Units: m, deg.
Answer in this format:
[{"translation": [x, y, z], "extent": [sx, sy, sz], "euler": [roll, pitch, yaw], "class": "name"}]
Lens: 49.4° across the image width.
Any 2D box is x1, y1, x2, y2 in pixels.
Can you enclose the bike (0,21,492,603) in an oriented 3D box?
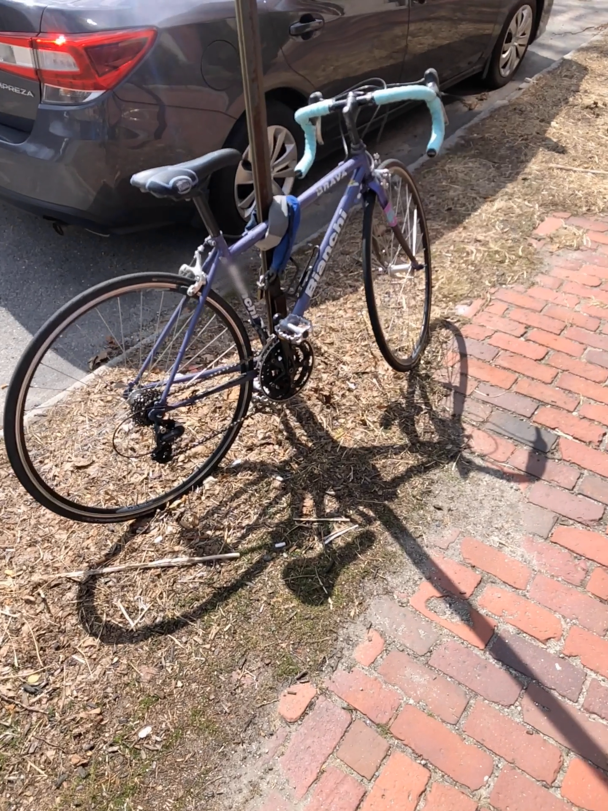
[{"translation": [-0.149, -0.352, 1.773], "extent": [0.460, 0.735, 1.453], "euler": [31, 56, 34], "class": "bike"}]
